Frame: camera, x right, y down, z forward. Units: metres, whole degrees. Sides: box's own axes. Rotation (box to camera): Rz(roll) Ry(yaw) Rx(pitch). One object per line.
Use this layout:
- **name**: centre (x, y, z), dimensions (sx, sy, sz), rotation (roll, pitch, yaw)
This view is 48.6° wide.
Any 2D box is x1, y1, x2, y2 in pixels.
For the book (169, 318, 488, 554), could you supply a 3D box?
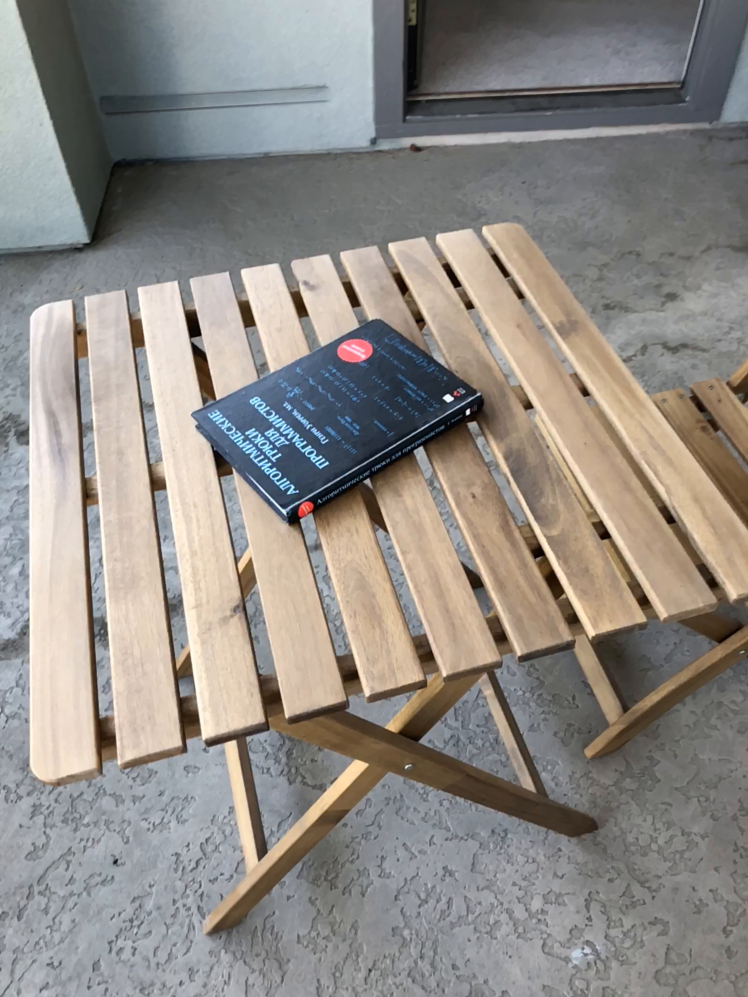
- **book**: centre (-0.043, -0.074, 0.811), dimensions (0.250, 0.030, 0.180), rotation (-32, 55, -24)
